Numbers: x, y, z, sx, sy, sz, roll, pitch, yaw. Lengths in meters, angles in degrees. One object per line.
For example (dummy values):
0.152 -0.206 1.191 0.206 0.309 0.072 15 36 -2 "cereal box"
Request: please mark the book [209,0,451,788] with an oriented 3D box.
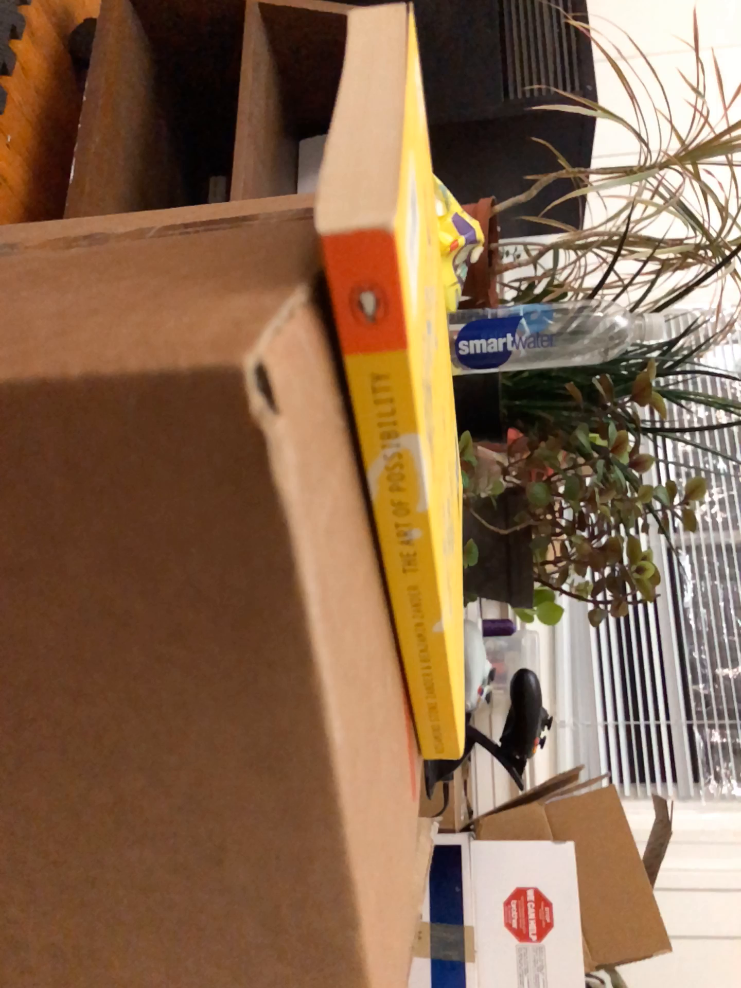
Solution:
0.006 -0.027 0.255 0.210 0.020 0.150 77 13 -44 "book"
